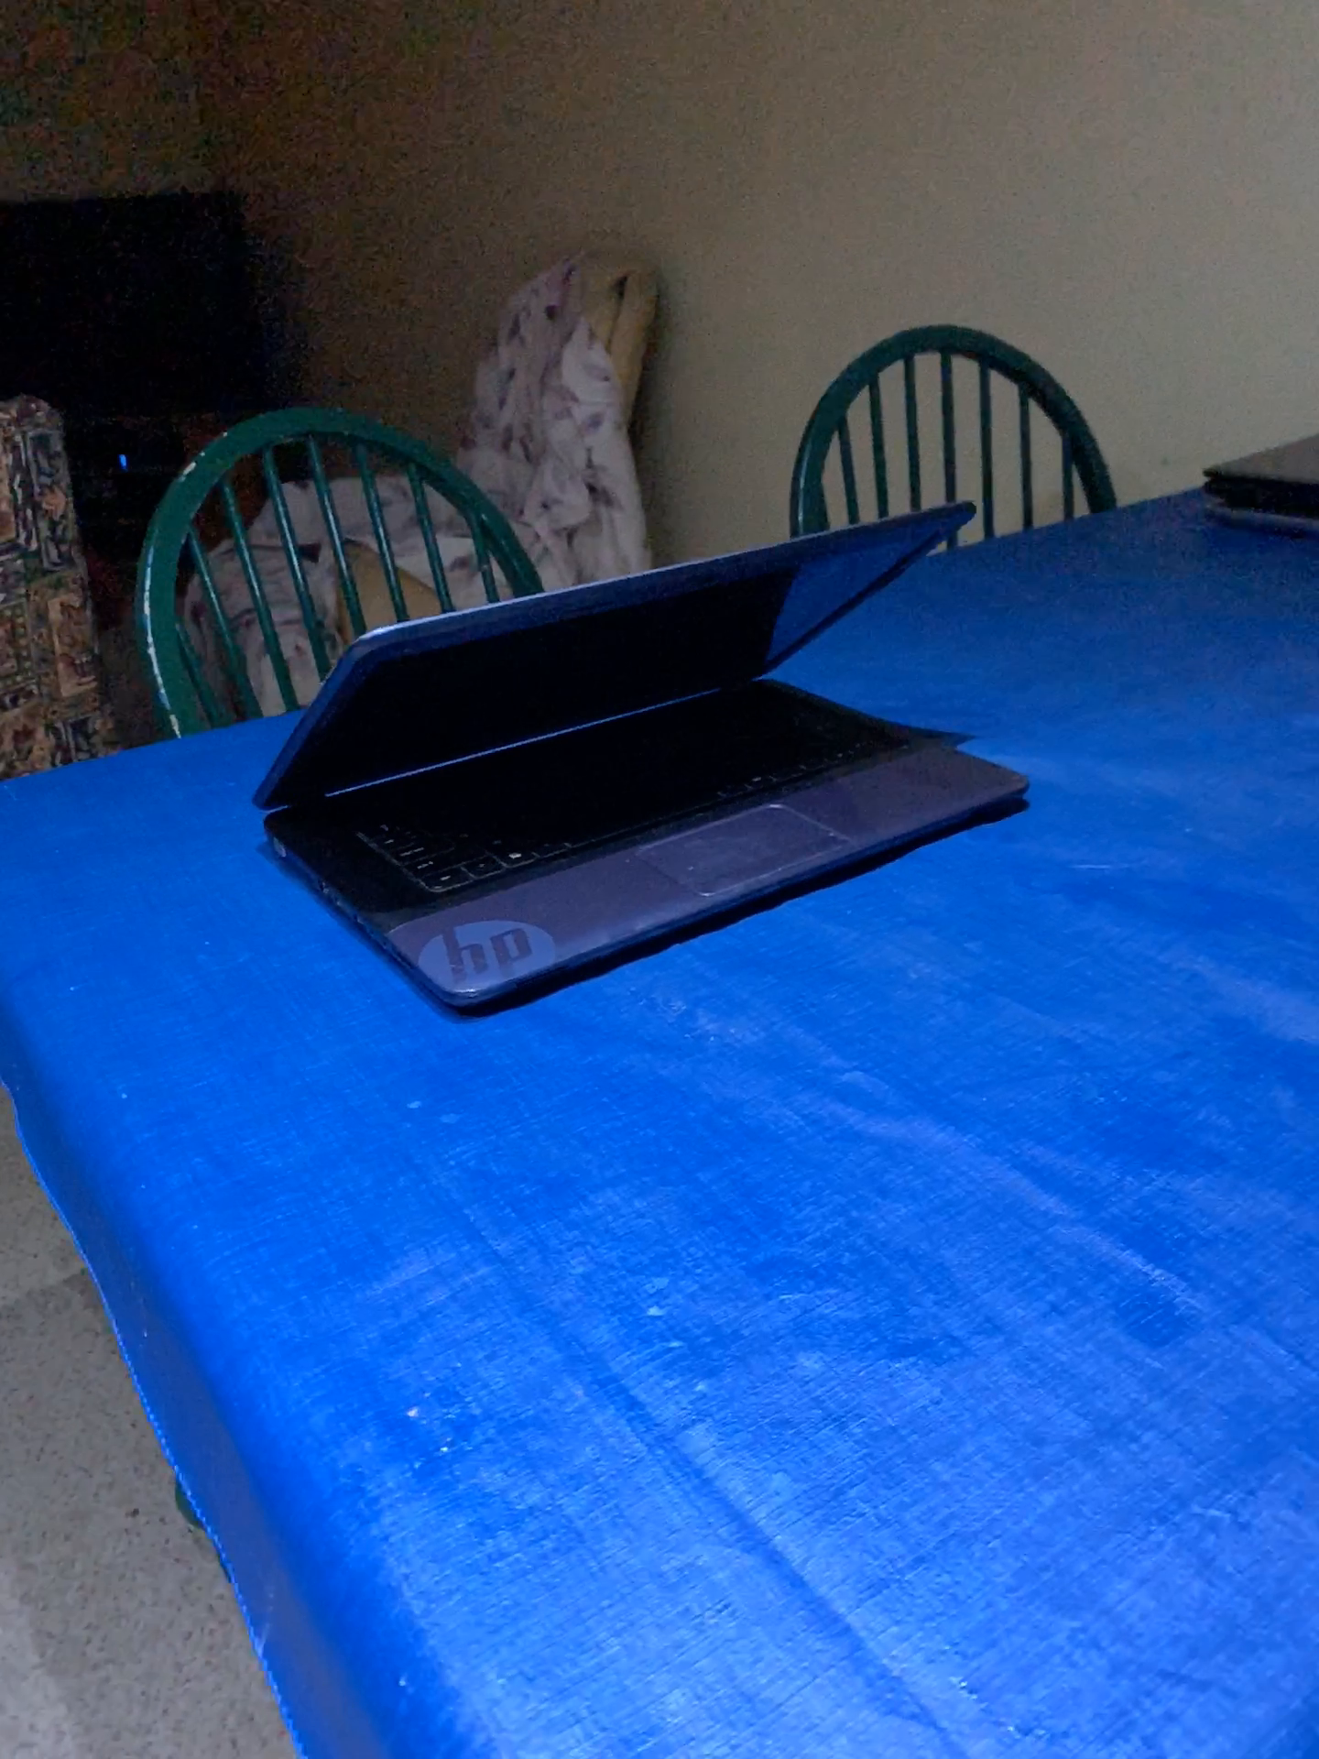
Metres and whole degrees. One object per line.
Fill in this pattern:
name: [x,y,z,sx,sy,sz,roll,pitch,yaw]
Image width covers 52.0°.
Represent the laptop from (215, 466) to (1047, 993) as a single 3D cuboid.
laptop: [-0.011,-0.111,0.739,0.363,0.141,0.240,-20,31,-29]
